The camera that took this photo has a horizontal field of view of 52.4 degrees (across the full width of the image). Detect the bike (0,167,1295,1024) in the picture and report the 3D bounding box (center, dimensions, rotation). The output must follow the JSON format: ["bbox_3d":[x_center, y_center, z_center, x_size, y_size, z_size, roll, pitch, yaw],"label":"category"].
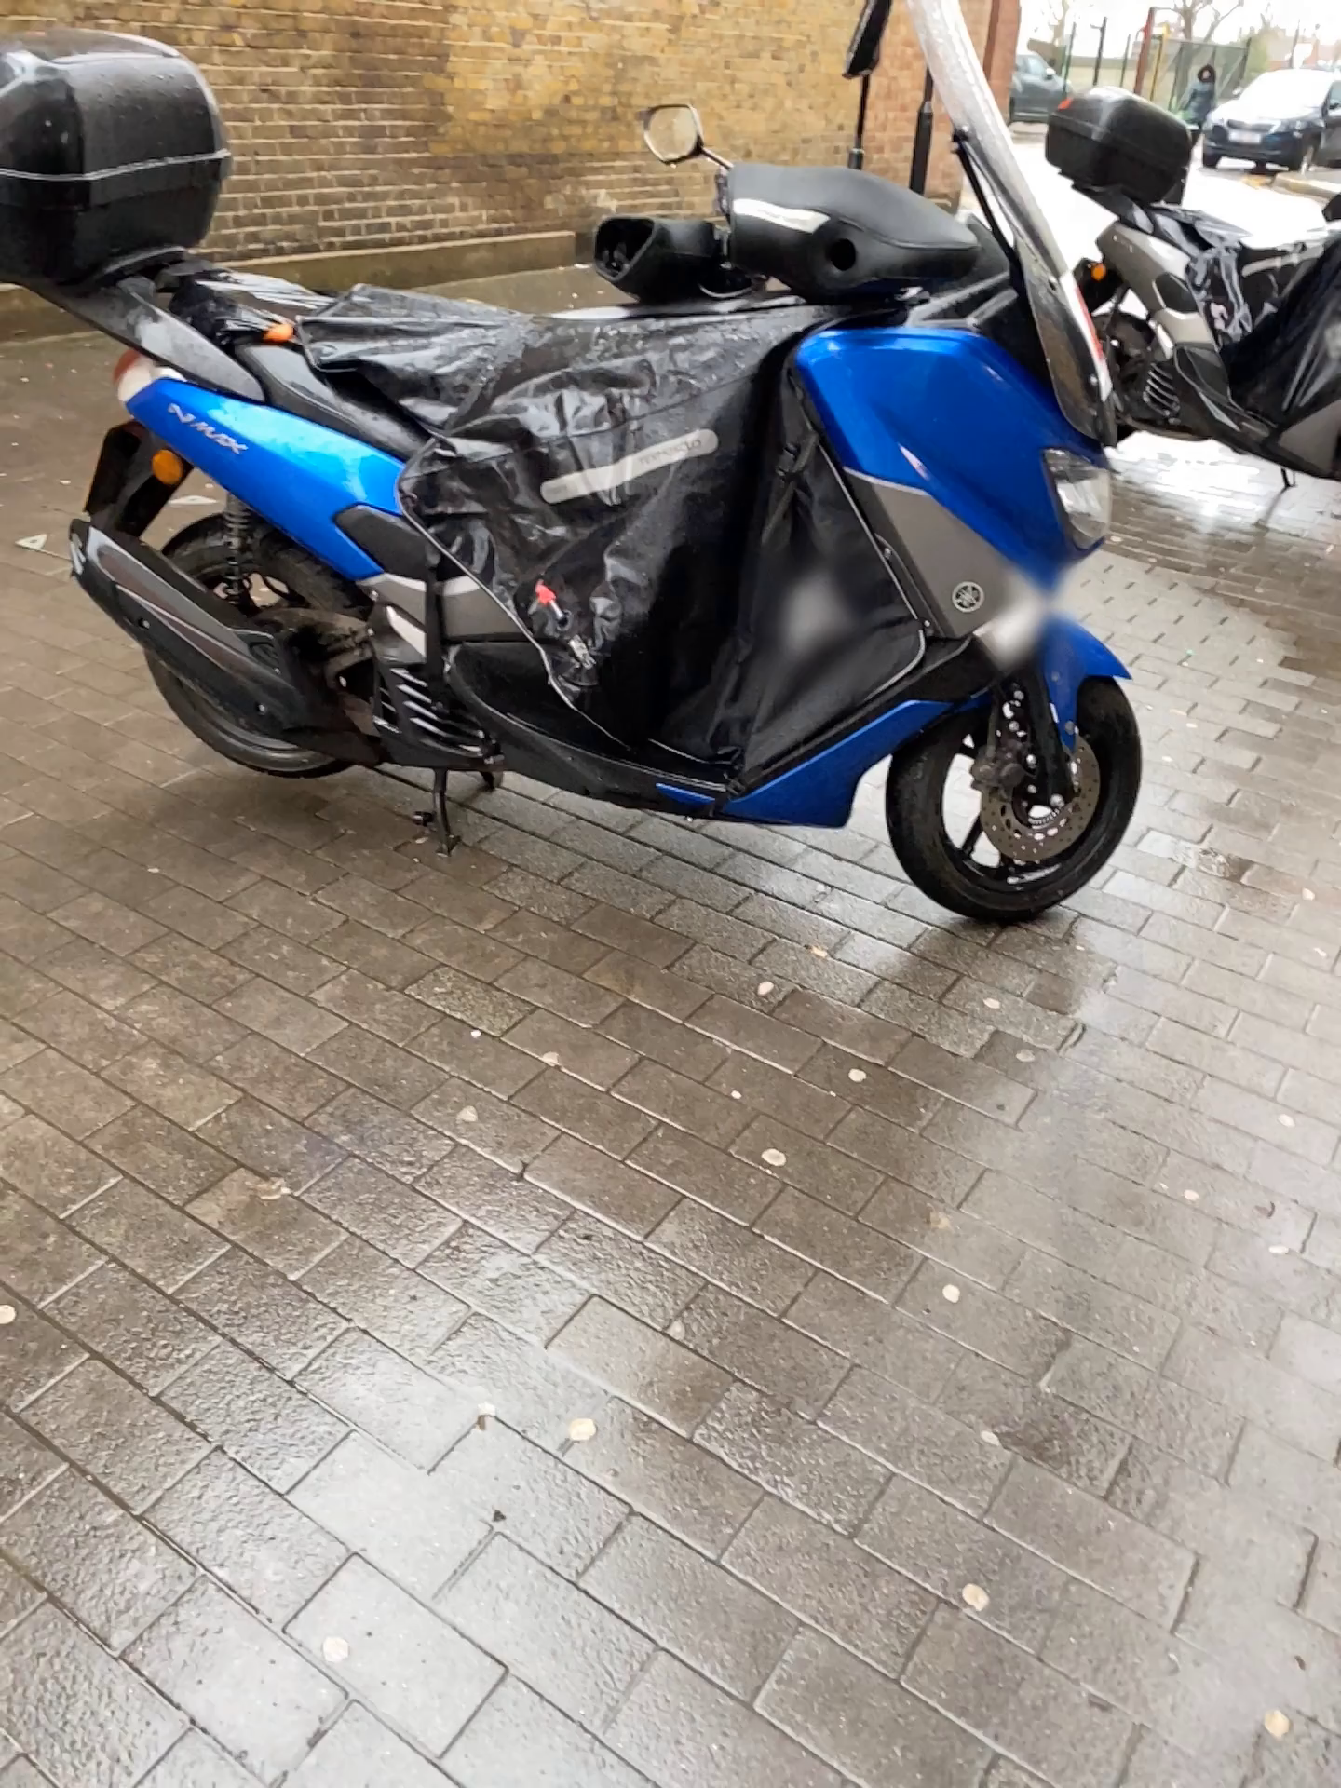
[{"bbox_3d":[-0.088,-0.516,2.170,1.730,0.998,0.682,8,31,7],"label":"bike"}]
